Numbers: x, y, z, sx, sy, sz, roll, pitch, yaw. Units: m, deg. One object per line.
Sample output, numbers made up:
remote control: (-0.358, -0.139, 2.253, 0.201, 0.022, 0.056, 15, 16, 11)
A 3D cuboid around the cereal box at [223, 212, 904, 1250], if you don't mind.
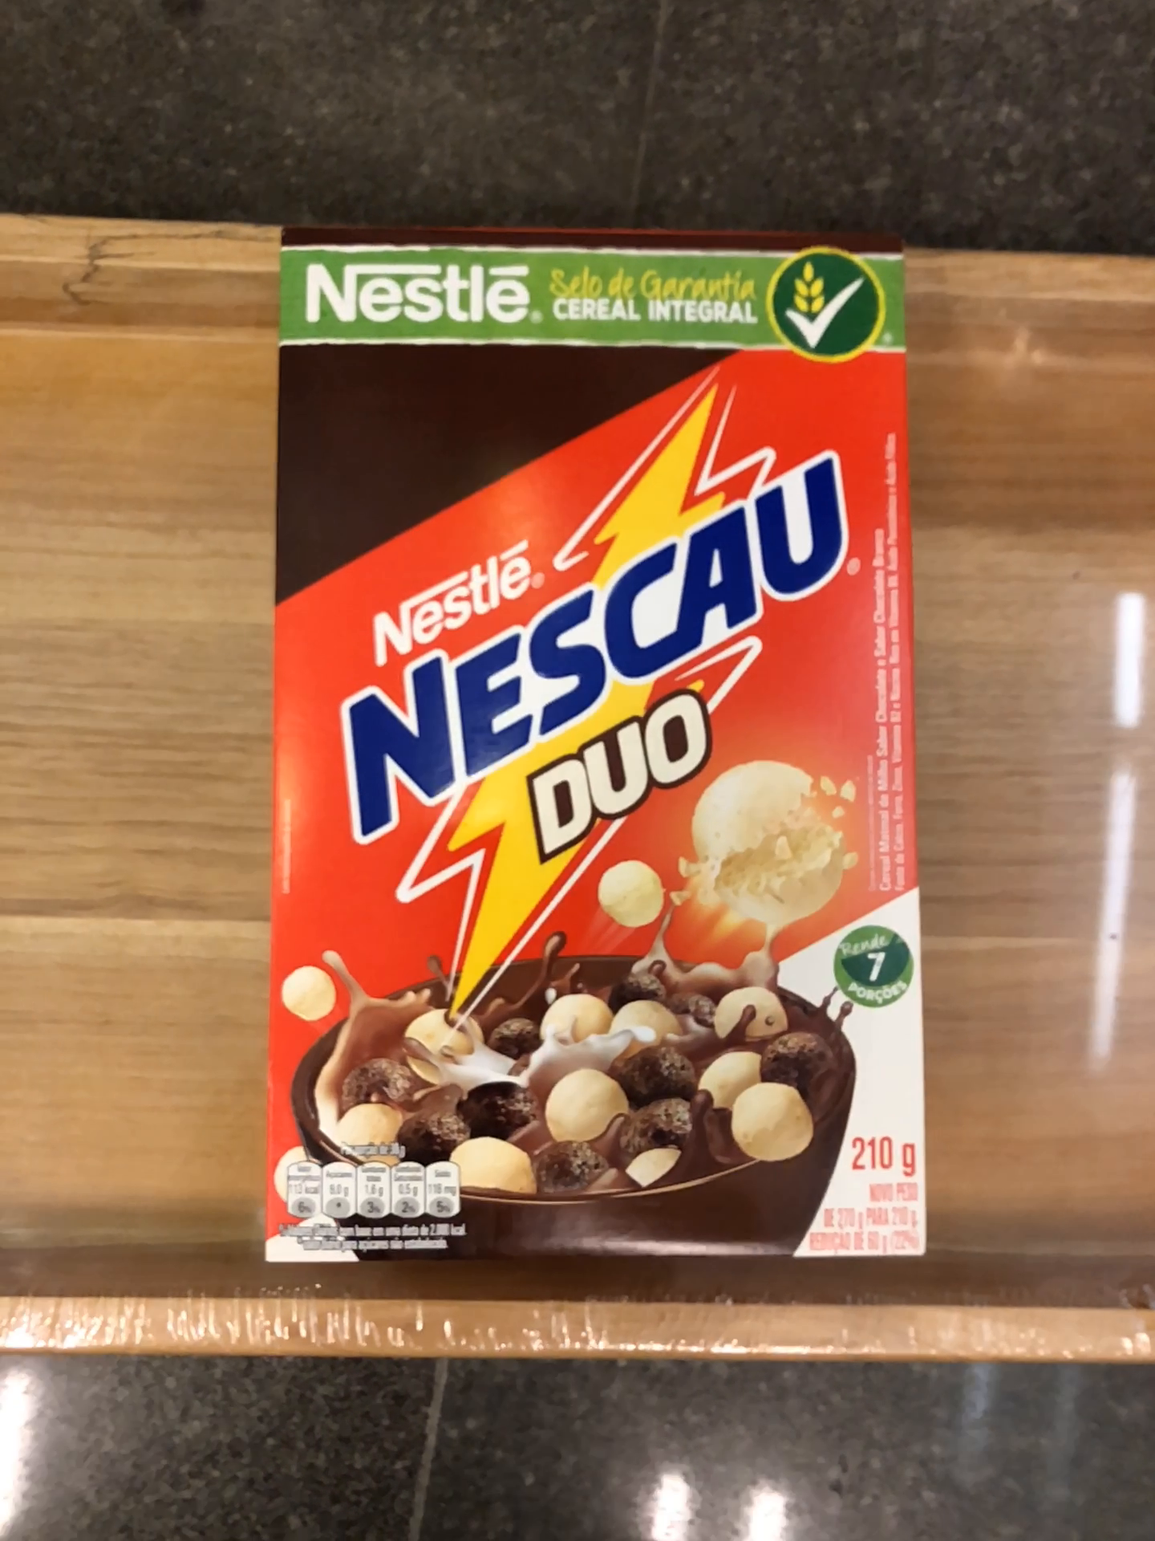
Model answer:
cereal box: (-0.003, -0.011, 0.337, 0.160, 0.050, 0.250, 0, 86, -2)
